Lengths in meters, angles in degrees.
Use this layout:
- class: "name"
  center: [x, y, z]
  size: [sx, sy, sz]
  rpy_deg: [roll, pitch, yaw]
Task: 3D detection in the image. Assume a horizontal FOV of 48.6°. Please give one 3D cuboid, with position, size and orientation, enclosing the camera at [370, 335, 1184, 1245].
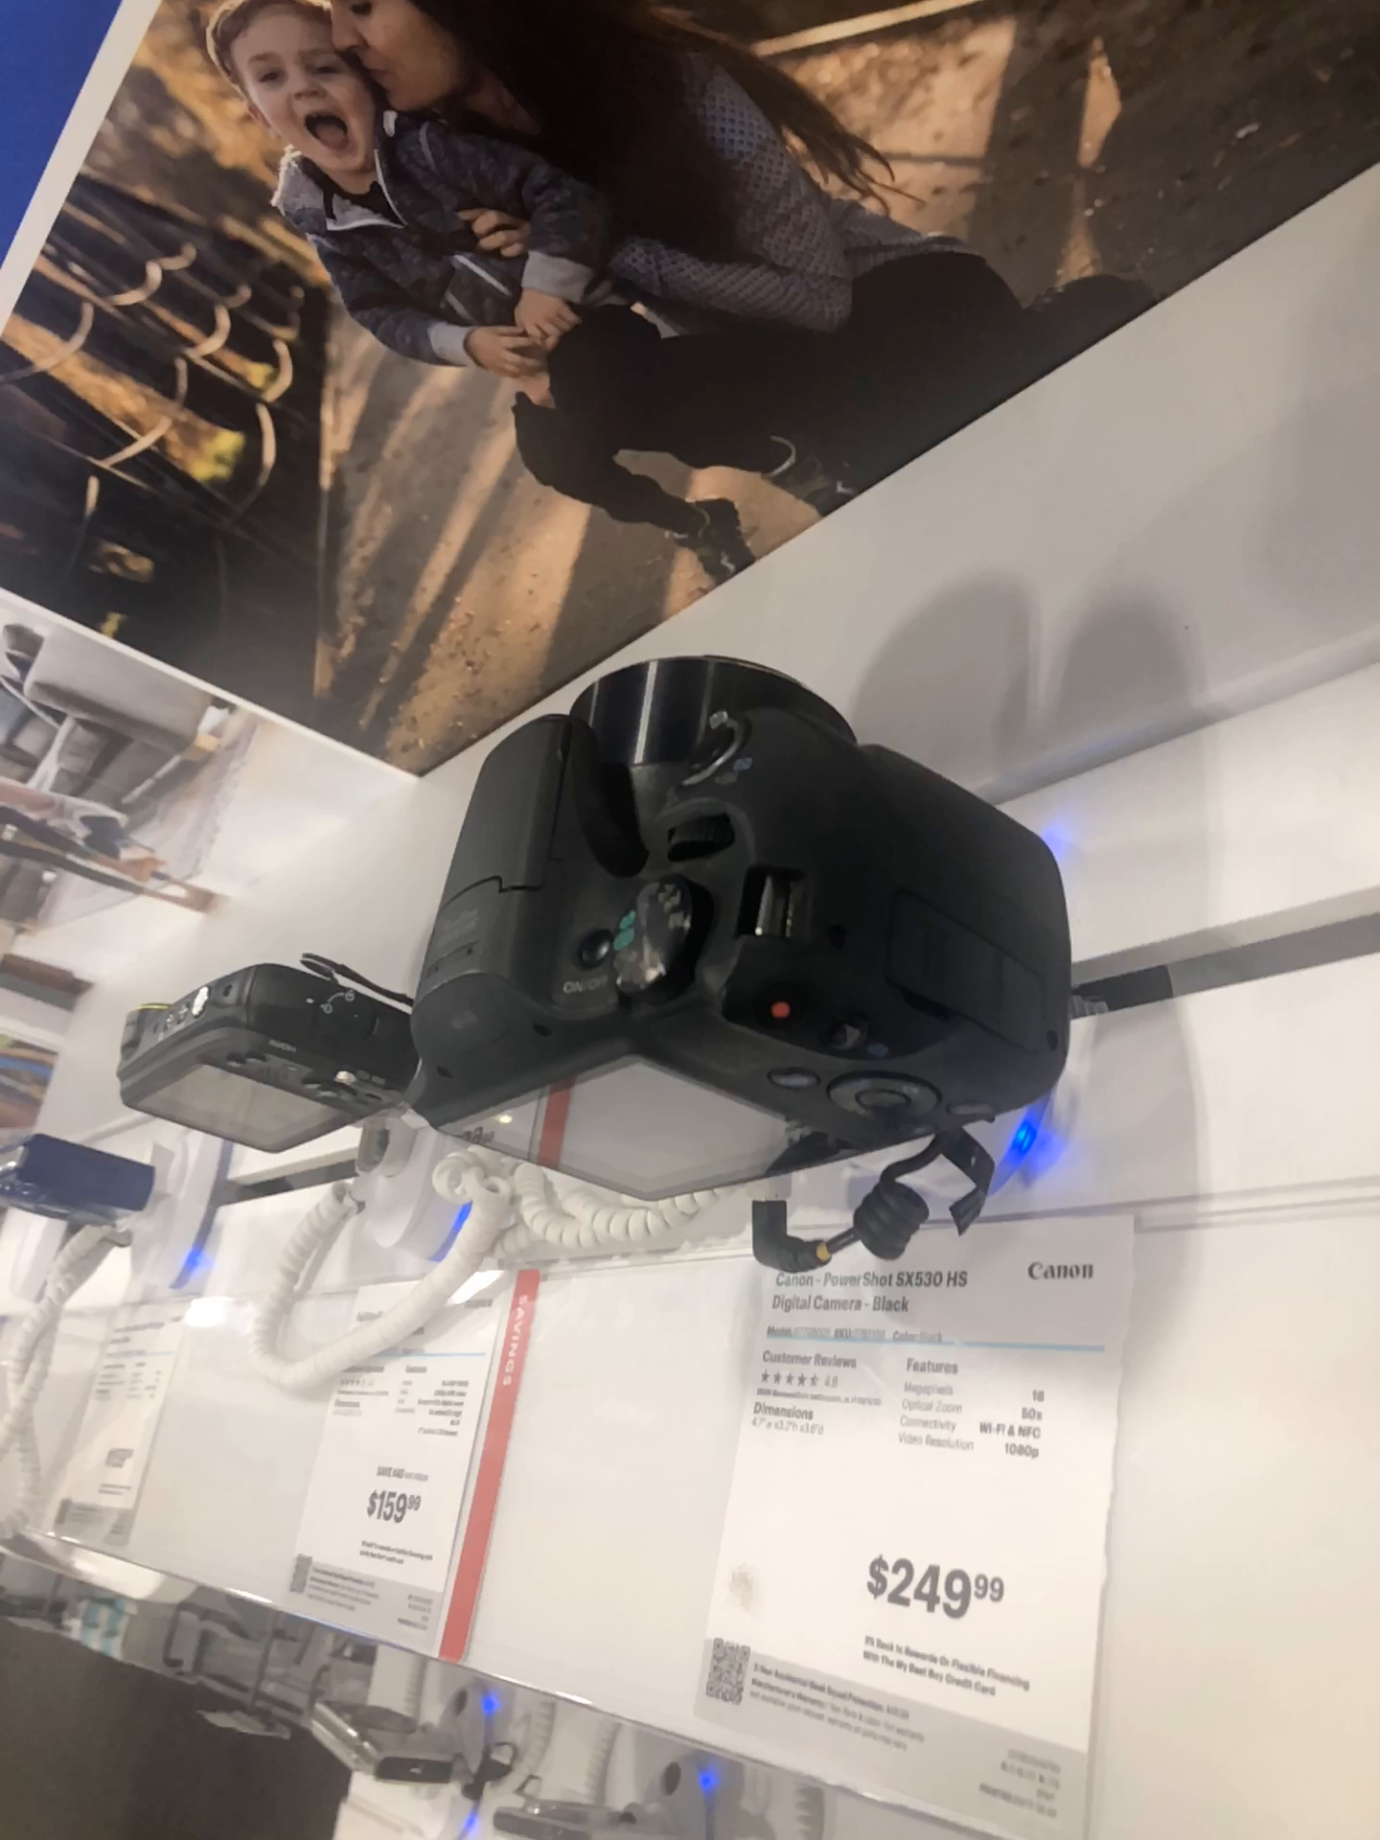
- class: "camera"
  center: [0.014, -0.011, 0.270]
  size: [0.121, 0.070, 0.110]
  rpy_deg: [-23, 50, 50]
